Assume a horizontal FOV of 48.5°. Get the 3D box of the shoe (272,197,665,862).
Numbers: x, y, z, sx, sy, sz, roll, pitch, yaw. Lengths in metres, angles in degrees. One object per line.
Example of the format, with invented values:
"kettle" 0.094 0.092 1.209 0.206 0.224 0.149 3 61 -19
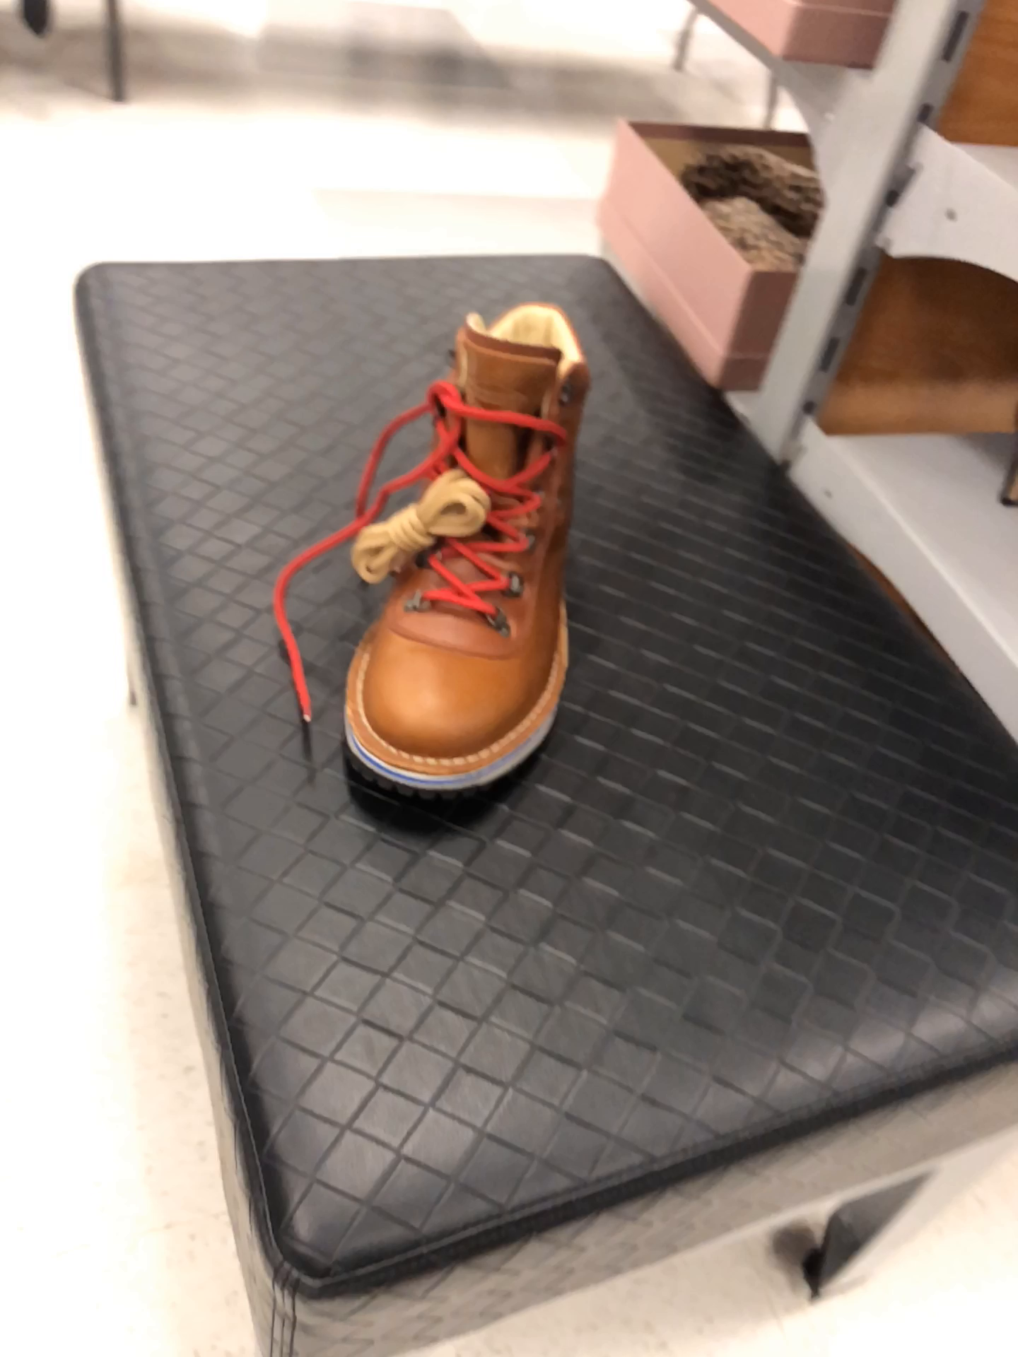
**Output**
"shoe" -0.013 -0.091 0.584 0.122 0.180 0.299 14 44 1
